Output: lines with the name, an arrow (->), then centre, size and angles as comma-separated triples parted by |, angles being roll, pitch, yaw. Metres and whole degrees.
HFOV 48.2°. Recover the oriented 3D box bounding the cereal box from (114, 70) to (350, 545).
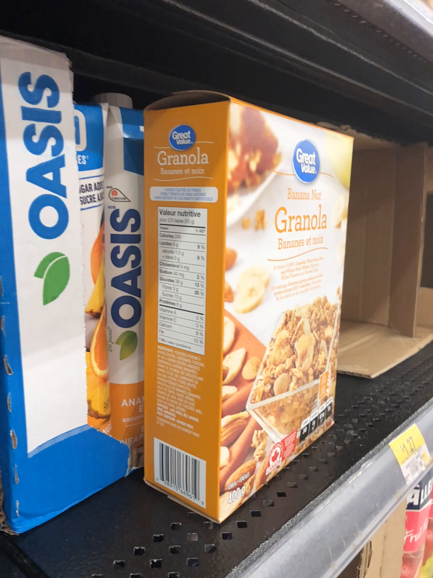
cereal box -> 0.020, 0.003, 0.302 | 0.060, 0.220, 0.160 | 7, 11, 35
